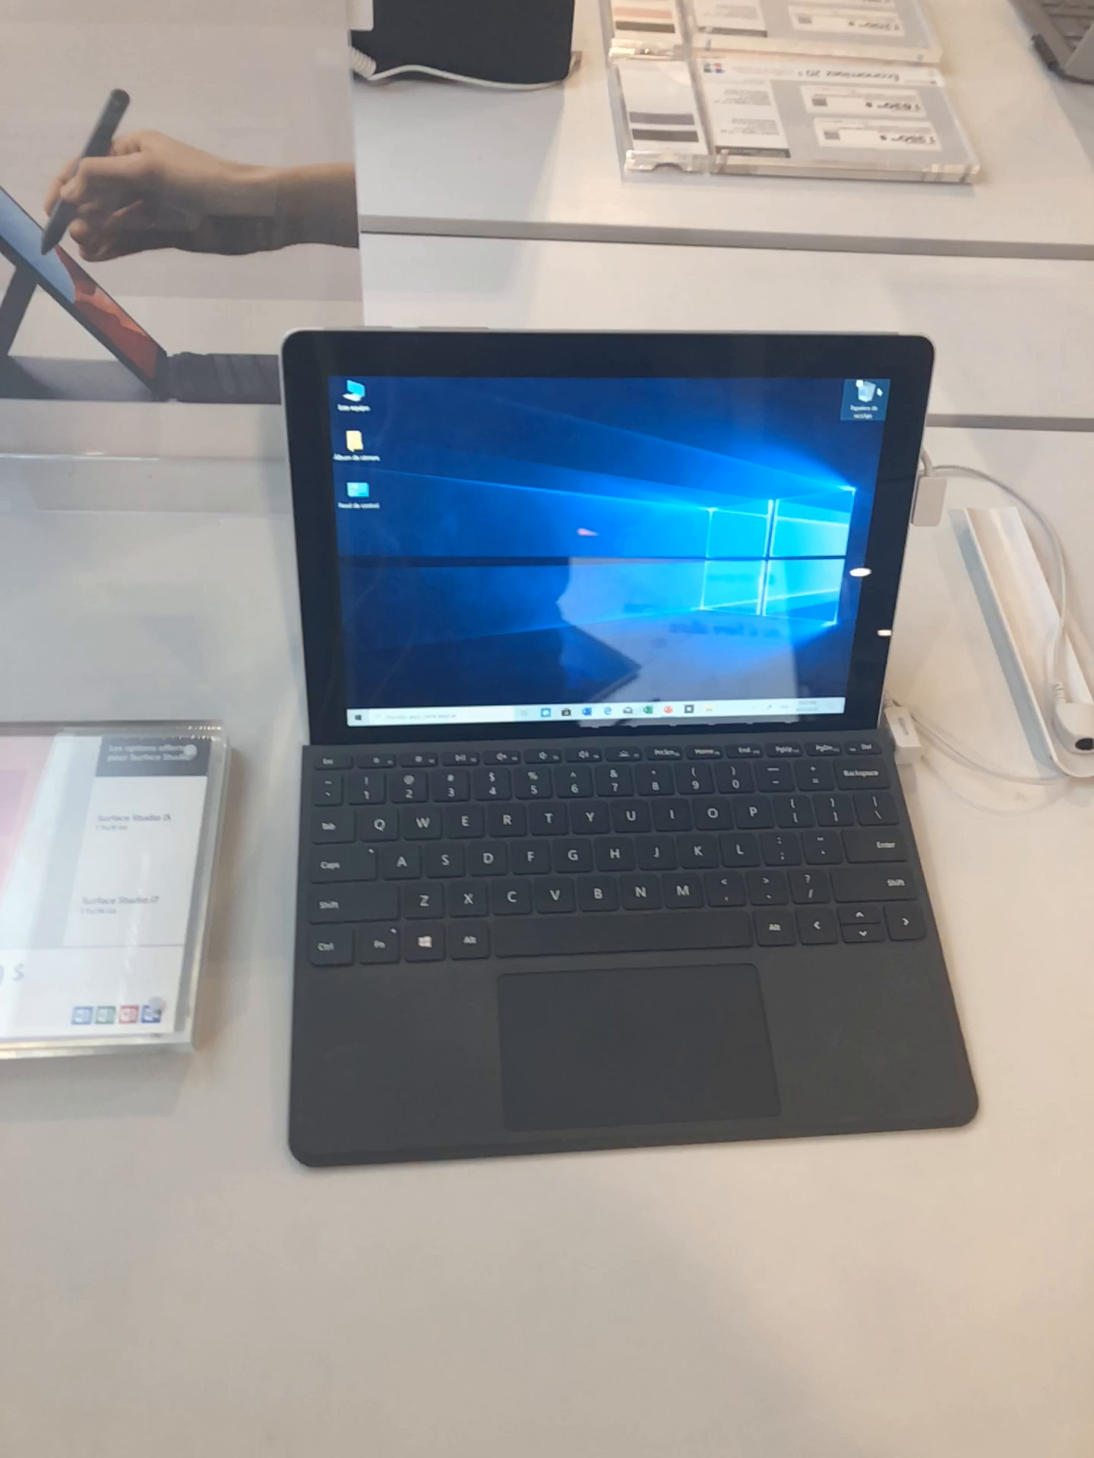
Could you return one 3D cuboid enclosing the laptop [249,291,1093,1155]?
[{"bbox_3d":[0.027,-0.007,0.427,0.236,0.140,0.251,-2,58,-8],"label":"laptop"}]
